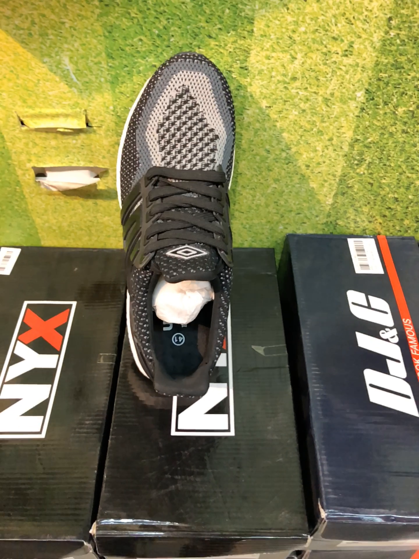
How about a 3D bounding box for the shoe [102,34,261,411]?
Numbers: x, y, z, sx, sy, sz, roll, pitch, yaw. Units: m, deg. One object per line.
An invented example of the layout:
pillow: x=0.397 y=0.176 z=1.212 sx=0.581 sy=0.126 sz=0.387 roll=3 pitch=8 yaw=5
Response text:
shoe: x=-0.032 y=-0.041 z=0.405 sx=0.111 sy=0.122 sz=0.269 roll=1 pitch=91 yaw=-14
